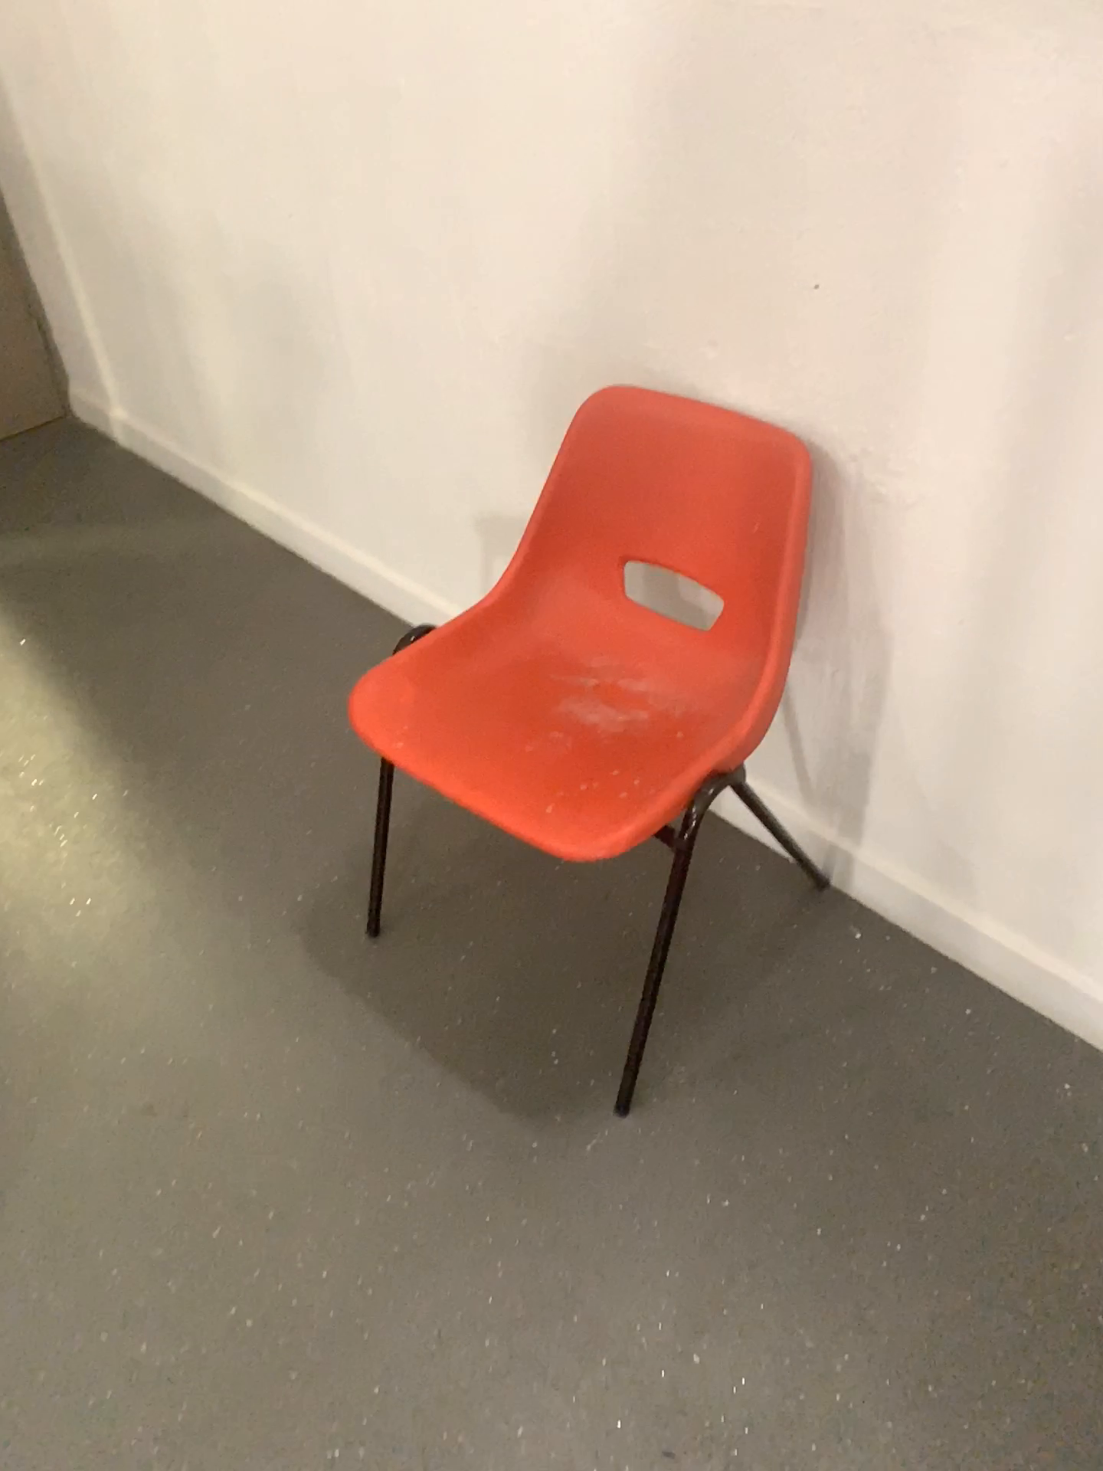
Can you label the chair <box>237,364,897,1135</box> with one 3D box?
[{"bbox_3d":[0.052,-0.005,1.520,0.512,0.713,0.593,26,49,31],"label":"chair"}]
